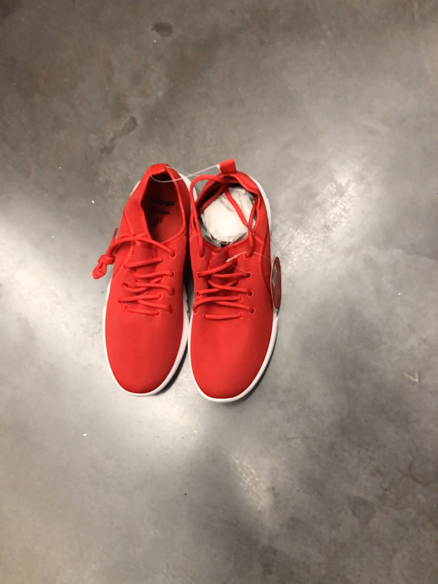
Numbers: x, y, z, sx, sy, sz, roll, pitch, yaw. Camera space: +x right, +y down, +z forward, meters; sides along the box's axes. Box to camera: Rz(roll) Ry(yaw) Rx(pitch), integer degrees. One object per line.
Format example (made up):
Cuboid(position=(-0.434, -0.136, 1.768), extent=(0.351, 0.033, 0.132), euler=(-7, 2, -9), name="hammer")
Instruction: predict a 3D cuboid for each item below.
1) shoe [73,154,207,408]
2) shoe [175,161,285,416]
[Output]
Cuboid(position=(-0.075, -0.009, 0.520), extent=(0.100, 0.100, 0.250), euler=(2, 79, 5), name="shoe")
Cuboid(position=(0.017, -0.001, 0.520), extent=(0.100, 0.100, 0.250), euler=(1, 79, 5), name="shoe")
